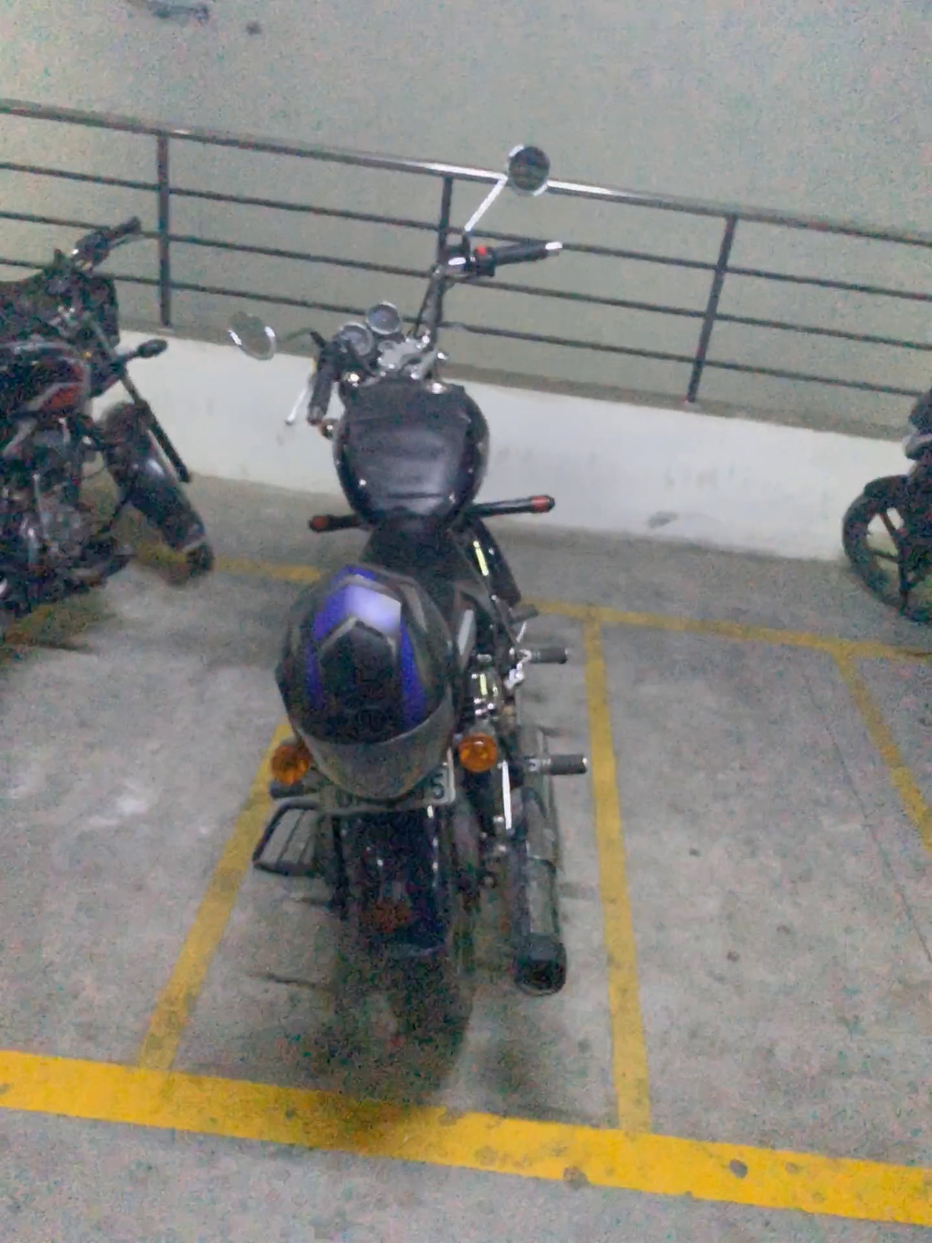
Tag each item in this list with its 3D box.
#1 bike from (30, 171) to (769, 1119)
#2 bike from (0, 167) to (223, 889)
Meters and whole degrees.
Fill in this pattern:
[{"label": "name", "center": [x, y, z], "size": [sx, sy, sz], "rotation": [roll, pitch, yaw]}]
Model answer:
[{"label": "bike", "center": [-0.271, -0.122, 2.106], "size": [0.841, 1.303, 1.674], "rotation": [3, 30, -11]}, {"label": "bike", "center": [-1.272, -0.391, 2.397], "size": [0.594, 1.193, 1.509], "rotation": [15, 30, 13]}]
